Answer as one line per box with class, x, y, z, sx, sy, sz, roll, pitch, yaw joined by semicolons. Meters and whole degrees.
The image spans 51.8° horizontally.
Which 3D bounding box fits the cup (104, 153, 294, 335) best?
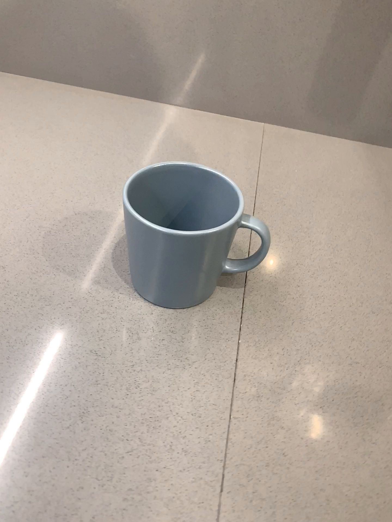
cup;0.003;-0.015;0.334;0.130;0.090;0.090;12;44;2
